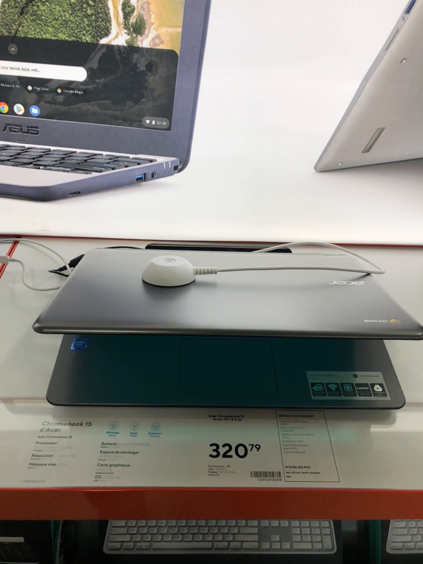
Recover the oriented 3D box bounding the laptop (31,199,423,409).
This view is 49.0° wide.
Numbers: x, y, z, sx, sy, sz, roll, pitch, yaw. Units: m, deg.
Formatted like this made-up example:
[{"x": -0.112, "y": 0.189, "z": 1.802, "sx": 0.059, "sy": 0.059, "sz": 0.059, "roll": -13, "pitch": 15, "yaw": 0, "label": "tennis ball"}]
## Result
[{"x": 0.019, "y": 0.011, "z": 0.540, "sx": 0.369, "sy": 0.088, "sz": 0.249, "roll": 1, "pitch": 40, "yaw": -1, "label": "laptop"}]
